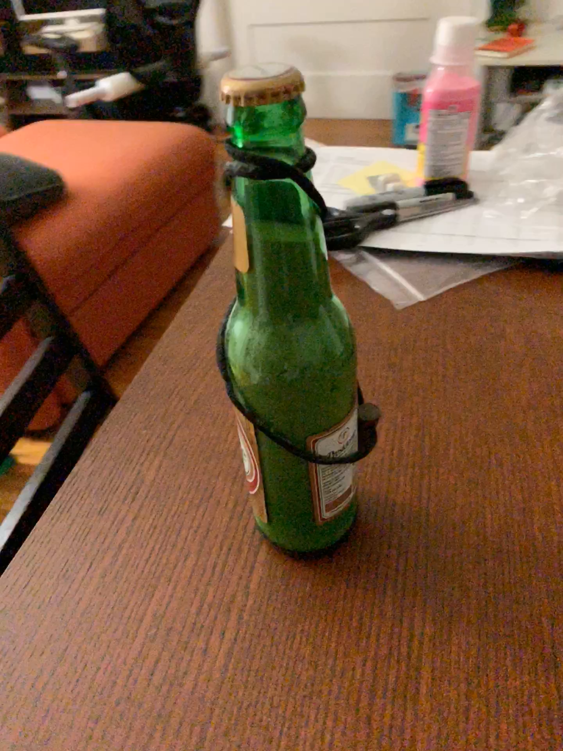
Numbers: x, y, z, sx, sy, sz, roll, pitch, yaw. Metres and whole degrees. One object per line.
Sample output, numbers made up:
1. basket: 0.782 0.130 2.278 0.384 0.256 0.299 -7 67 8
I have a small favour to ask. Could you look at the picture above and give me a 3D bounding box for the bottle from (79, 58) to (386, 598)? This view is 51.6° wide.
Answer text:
1. bottle: -0.006 -0.006 0.276 0.070 0.239 0.080 25 49 32
